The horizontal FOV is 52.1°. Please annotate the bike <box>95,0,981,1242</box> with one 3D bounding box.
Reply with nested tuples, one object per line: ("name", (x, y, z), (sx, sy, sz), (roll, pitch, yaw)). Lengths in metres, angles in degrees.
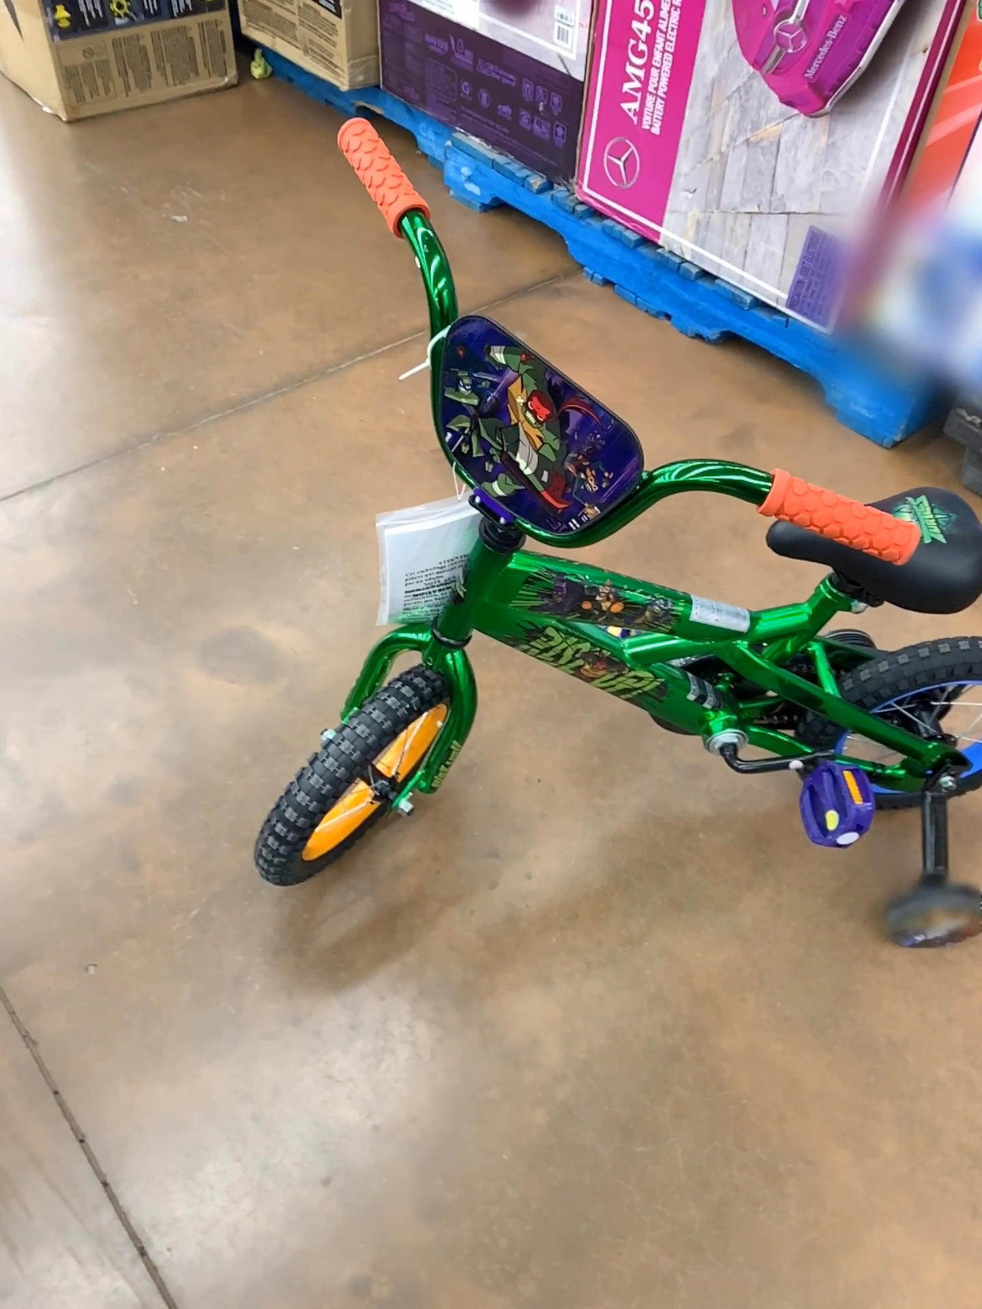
("bike", (0.243, -0.001, 0.825), (0.851, 0.732, 0.491), (-7, 49, -15))
